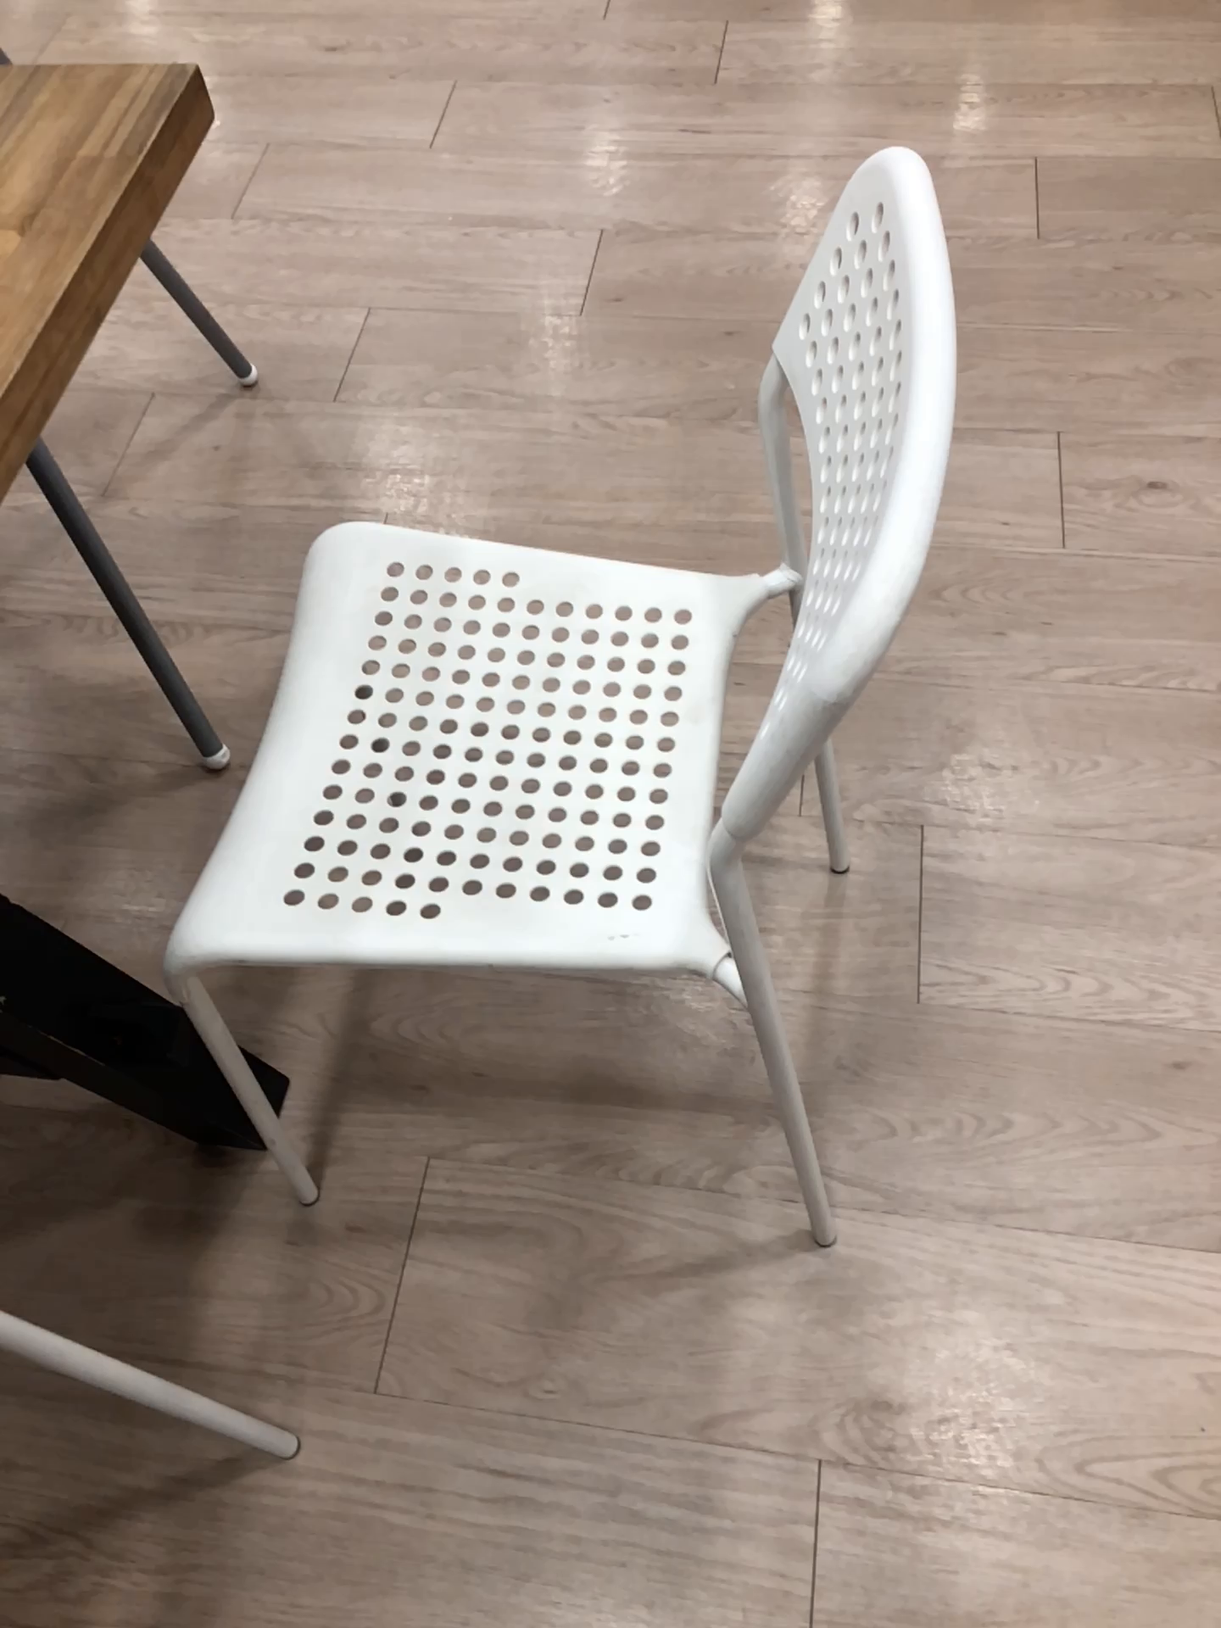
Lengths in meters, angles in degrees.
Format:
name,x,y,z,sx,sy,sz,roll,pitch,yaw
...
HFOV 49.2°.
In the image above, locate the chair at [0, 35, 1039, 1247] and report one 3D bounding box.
name,x,y,z,sx,sy,sz,roll,pitch,yaw
chair,-0.015,-0.053,0.895,0.450,0.697,0.422,5,57,9
